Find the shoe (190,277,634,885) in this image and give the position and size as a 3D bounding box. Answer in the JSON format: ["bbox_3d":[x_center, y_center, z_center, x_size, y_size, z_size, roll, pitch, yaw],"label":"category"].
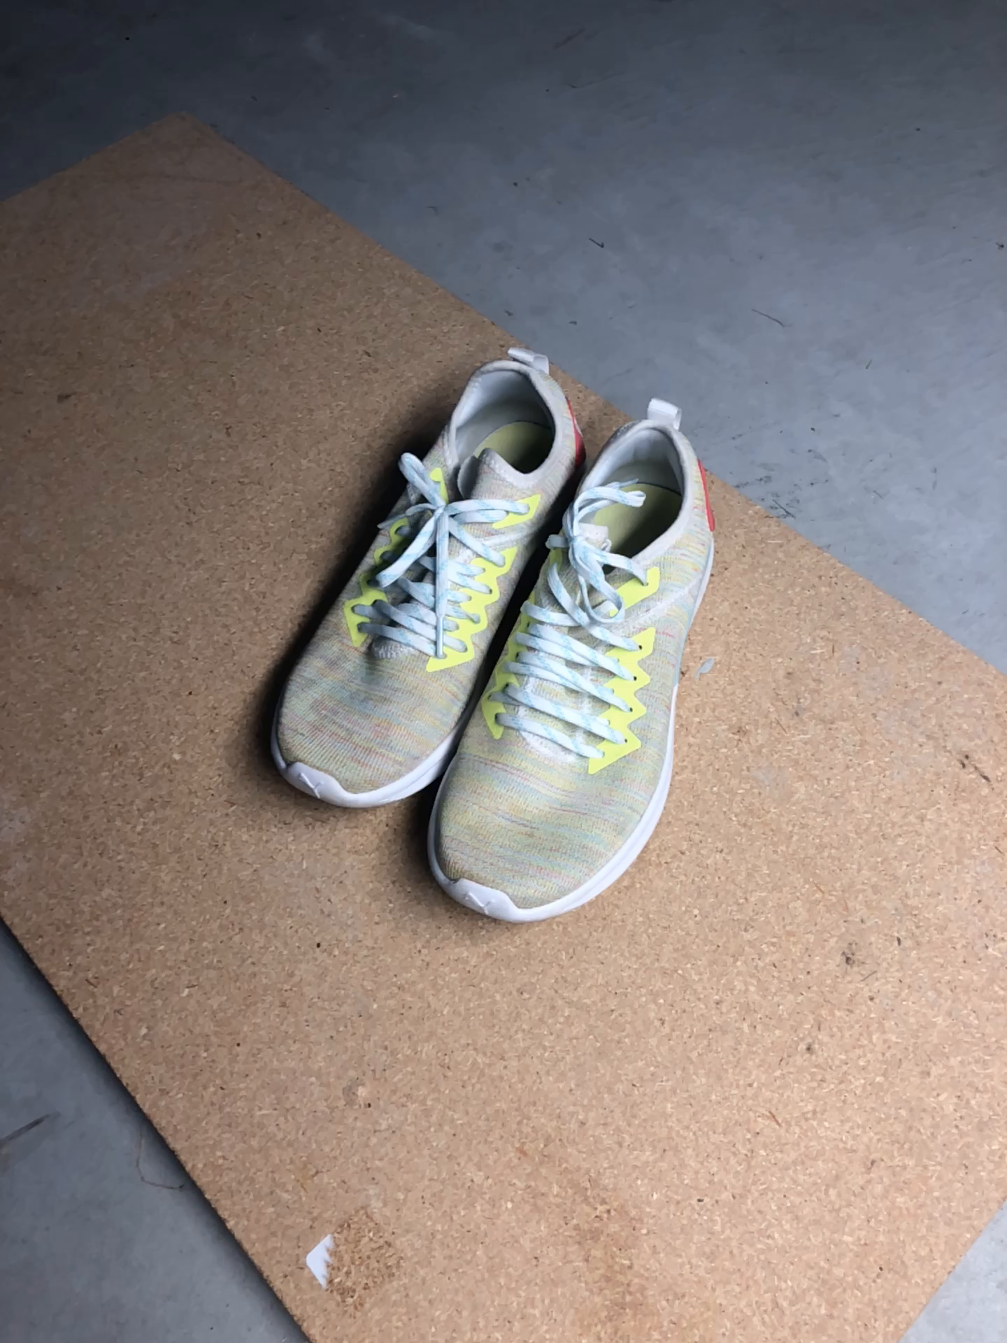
[{"bbox_3d":[-0.037,-0.053,0.596,0.100,0.100,0.300,22,68,8],"label":"shoe"}]

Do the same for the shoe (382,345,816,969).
[{"bbox_3d":[0.055,-0.013,0.592,0.110,0.100,0.300,22,68,8],"label":"shoe"}]
